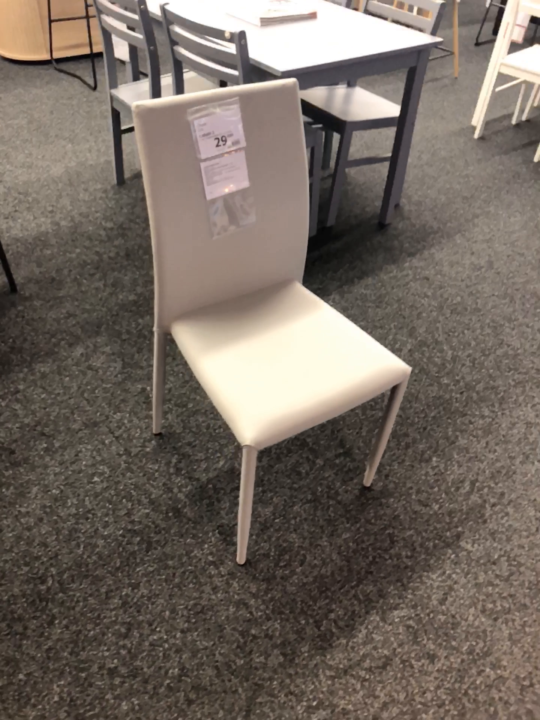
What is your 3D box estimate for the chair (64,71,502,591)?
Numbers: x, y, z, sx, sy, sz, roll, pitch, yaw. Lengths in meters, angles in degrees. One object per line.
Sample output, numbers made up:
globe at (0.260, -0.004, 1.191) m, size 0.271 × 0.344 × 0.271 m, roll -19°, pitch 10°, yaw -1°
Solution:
chair at (-0.019, -0.064, 1.242) m, size 0.502 × 0.815 × 0.541 m, roll -23°, pitch 49°, yaw -28°
